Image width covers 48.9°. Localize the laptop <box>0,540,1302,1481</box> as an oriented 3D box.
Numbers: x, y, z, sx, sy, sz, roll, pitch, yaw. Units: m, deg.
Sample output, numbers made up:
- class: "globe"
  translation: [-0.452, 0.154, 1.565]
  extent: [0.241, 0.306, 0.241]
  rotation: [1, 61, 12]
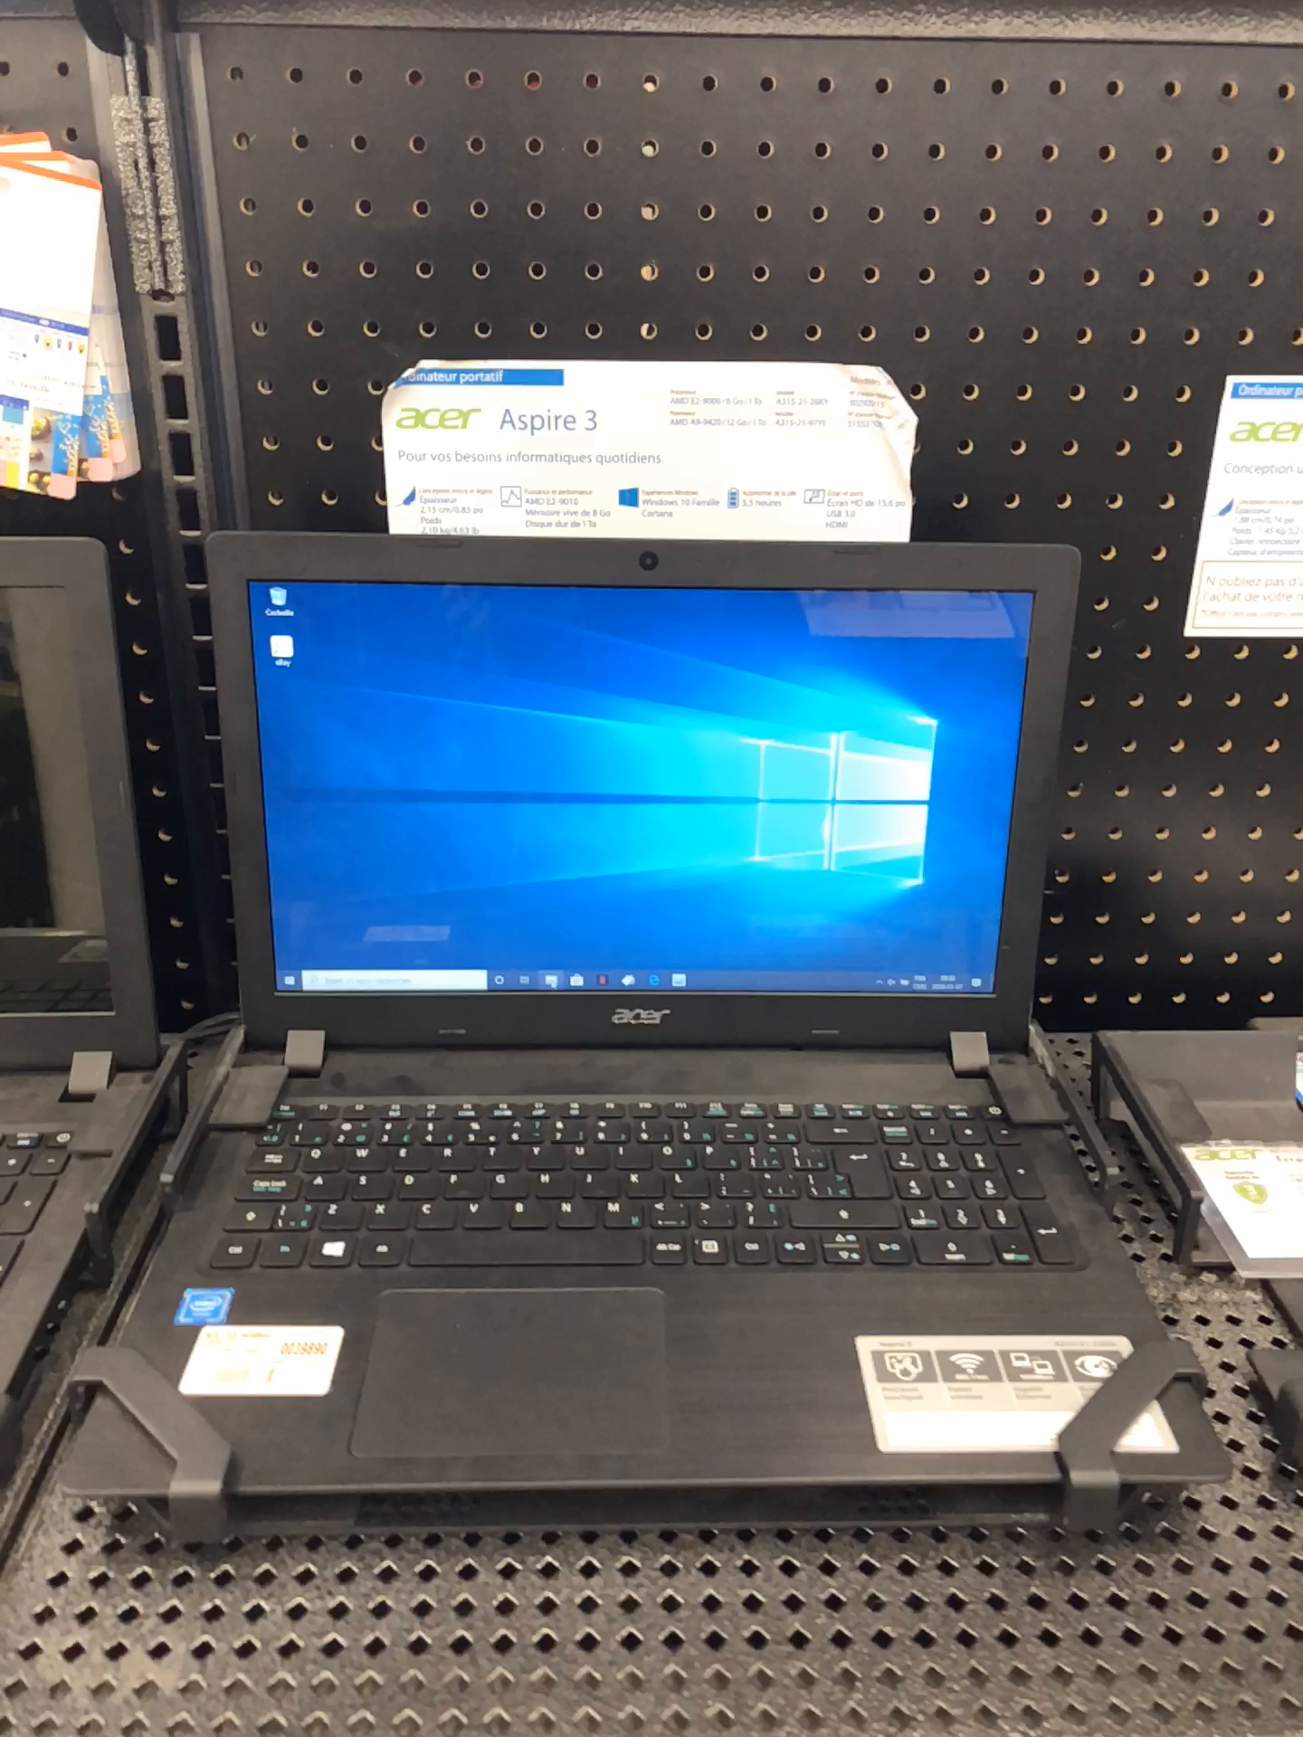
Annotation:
- class: "laptop"
  translation: [-0.003, 0.028, 0.563]
  extent: [0.386, 0.247, 0.296]
  rotation: [0, 24, -1]
